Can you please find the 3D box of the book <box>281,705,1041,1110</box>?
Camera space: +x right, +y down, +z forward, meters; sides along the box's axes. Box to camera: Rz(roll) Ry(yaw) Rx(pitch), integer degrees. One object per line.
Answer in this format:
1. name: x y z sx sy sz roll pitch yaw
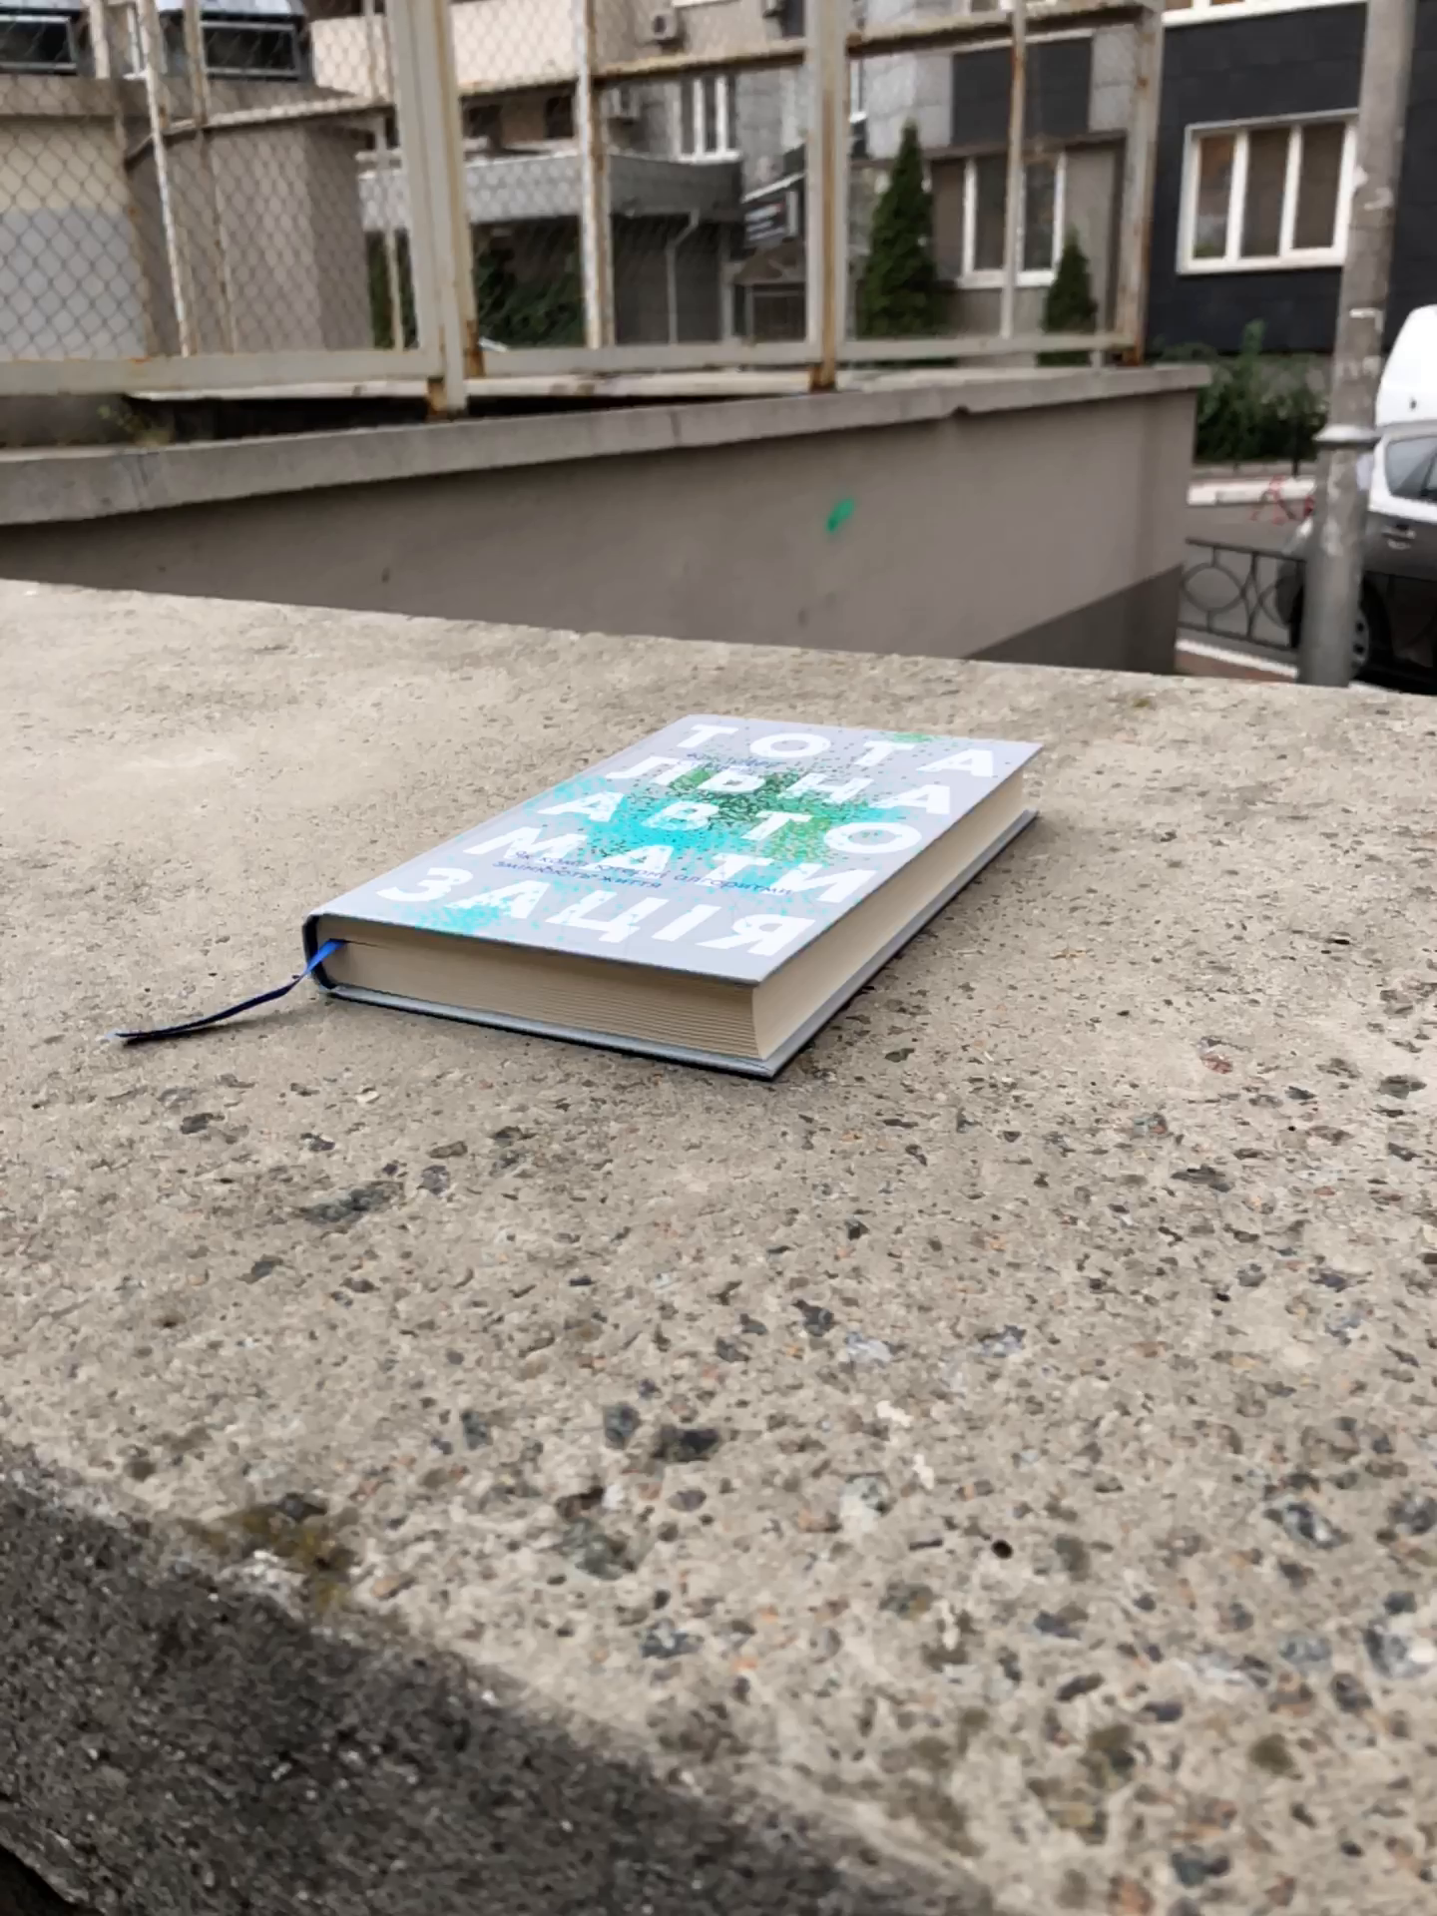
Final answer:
1. book: -0.004 -0.031 0.501 0.150 0.030 0.221 9 27 26
